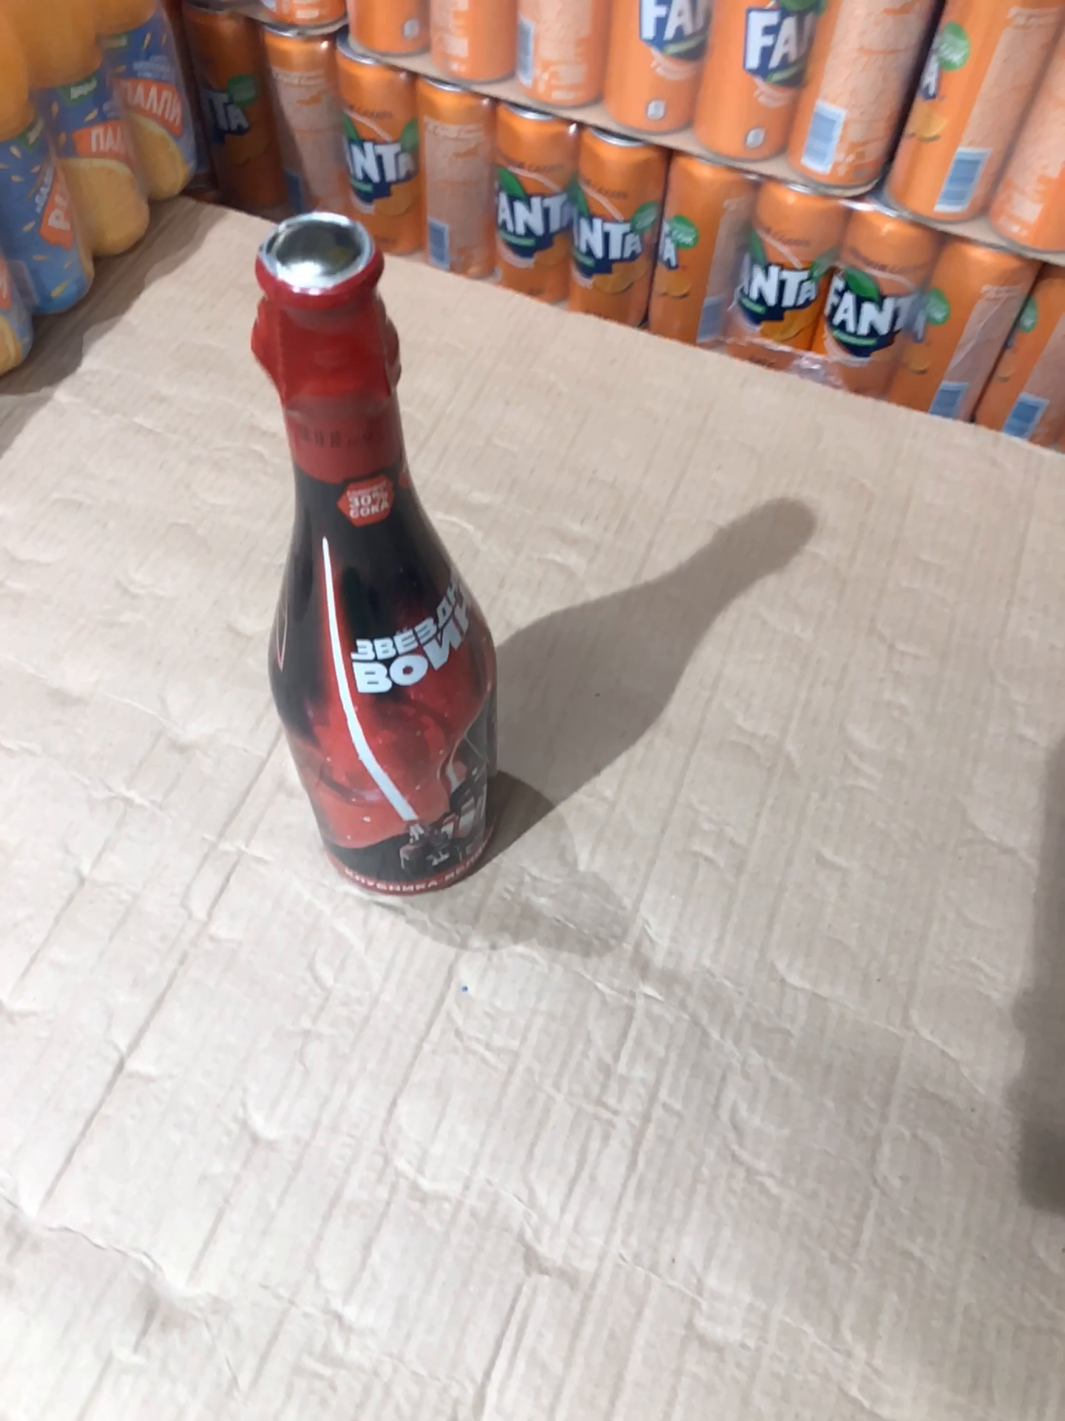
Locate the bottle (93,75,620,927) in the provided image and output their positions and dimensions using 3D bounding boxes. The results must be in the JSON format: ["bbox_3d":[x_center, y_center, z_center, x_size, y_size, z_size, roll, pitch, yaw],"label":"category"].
[{"bbox_3d":[-0.041,-0.033,0.374,0.085,0.279,0.086,1,59,-2],"label":"bottle"}]
